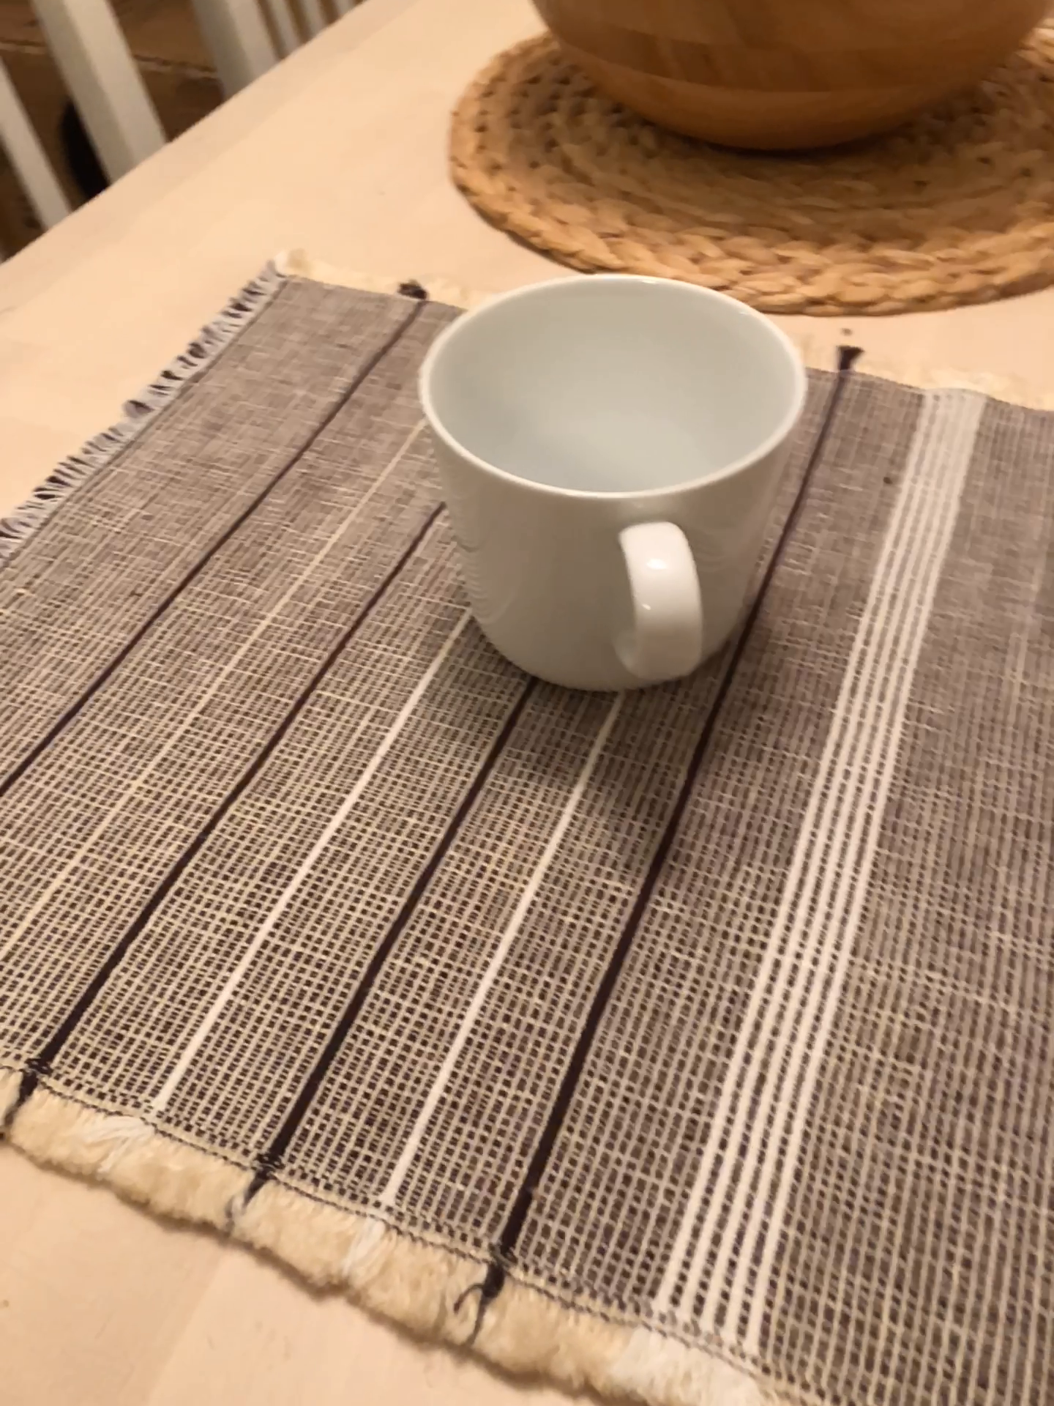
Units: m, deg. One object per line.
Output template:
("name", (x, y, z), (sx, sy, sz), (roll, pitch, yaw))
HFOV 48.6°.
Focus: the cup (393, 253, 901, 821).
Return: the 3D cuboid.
("cup", (0.021, -0.051, 0.317), (0.100, 0.070, 0.141), (-7, 48, -4))
